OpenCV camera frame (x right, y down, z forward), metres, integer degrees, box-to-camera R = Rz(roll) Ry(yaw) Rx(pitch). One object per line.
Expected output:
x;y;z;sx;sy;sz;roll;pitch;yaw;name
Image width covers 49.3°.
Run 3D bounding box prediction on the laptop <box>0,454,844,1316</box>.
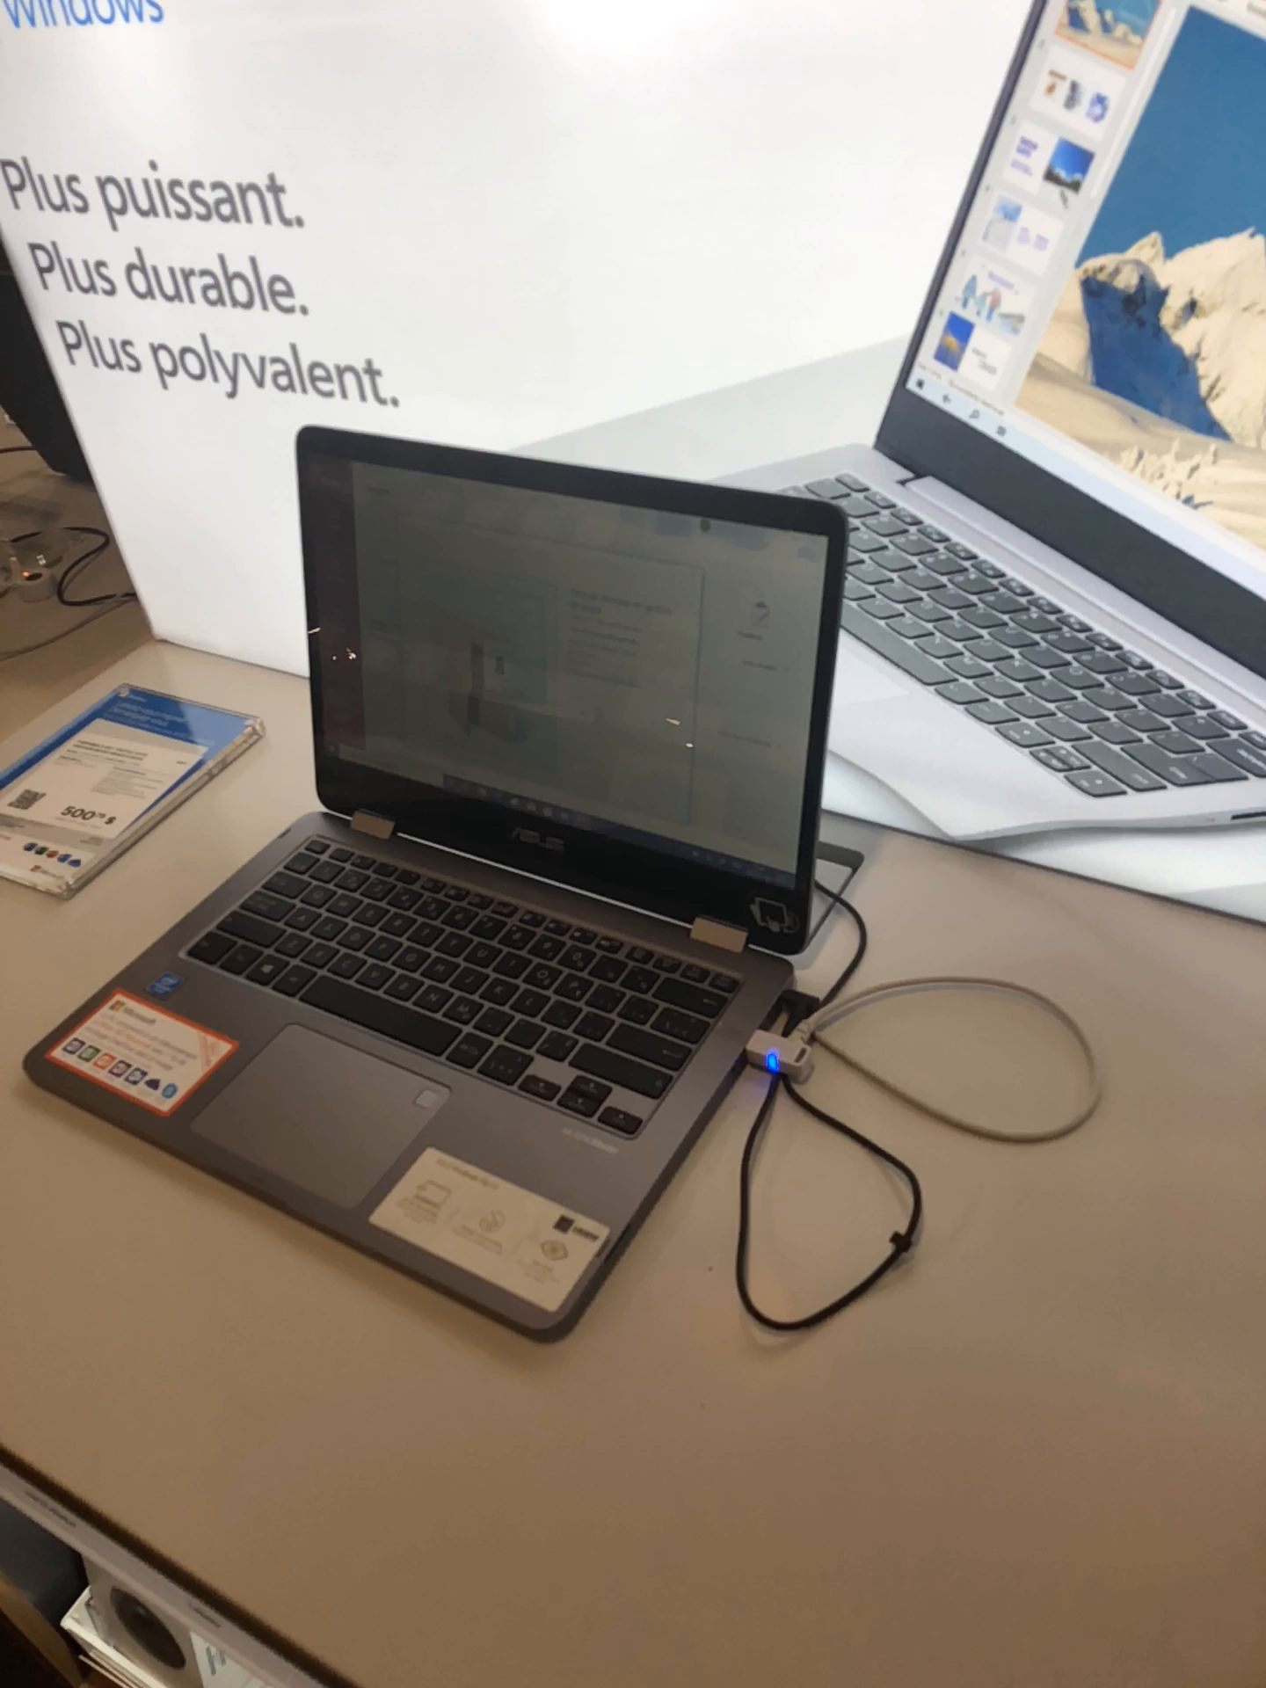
-0.106;-0.010;0.636;0.312;0.214;0.273;16;43;28;laptop
